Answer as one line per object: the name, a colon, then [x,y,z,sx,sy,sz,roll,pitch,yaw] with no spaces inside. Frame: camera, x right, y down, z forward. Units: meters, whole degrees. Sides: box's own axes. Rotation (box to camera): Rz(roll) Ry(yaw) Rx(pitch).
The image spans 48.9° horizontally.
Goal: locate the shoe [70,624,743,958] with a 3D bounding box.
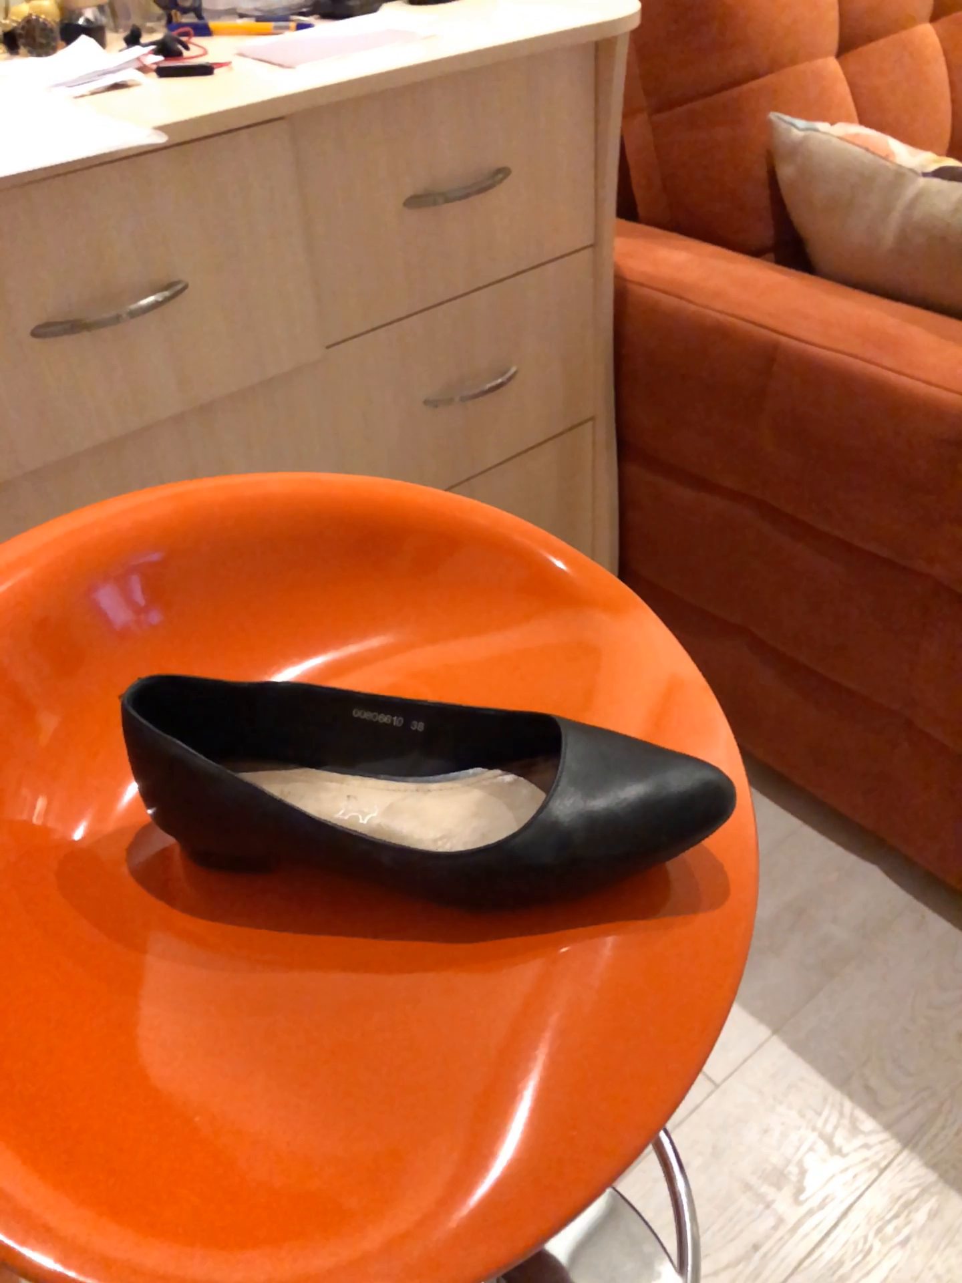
shoe: [-0.024,0.059,0.454,0.260,0.079,0.091,3,40,11]
